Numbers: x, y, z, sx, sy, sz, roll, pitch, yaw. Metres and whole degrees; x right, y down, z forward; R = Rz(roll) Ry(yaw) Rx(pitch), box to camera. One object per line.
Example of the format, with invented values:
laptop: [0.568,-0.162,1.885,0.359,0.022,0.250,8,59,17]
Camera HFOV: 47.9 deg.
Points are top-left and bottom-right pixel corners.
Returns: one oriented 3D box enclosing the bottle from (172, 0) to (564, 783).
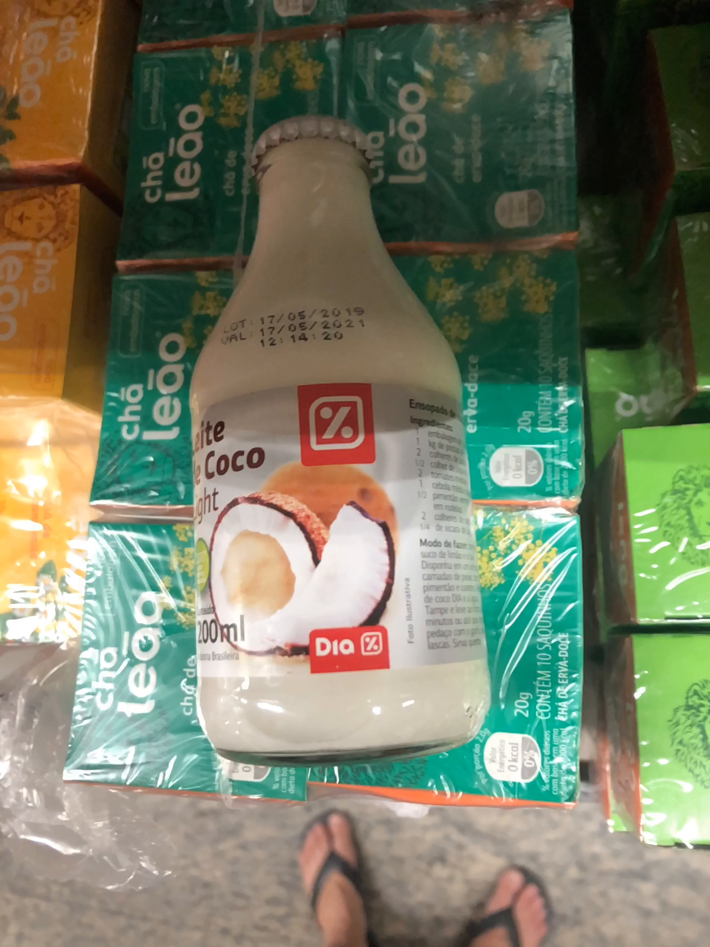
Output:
bottle: [0.003,-0.019,0.181,0.070,0.050,0.160,-3,78,9]
